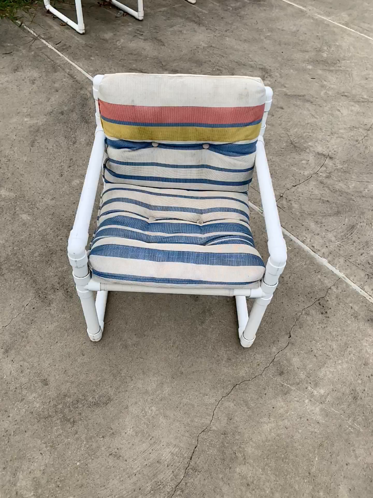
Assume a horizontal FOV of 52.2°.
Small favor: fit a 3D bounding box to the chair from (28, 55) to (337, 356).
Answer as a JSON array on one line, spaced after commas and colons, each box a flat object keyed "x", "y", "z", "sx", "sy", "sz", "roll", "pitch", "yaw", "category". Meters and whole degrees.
[{"x": -0.023, "y": -0.116, "z": 1.275, "sx": 0.650, "sy": 0.687, "sz": 0.673, "roll": 3, "pitch": 51, "yaw": -3, "category": "chair"}]
